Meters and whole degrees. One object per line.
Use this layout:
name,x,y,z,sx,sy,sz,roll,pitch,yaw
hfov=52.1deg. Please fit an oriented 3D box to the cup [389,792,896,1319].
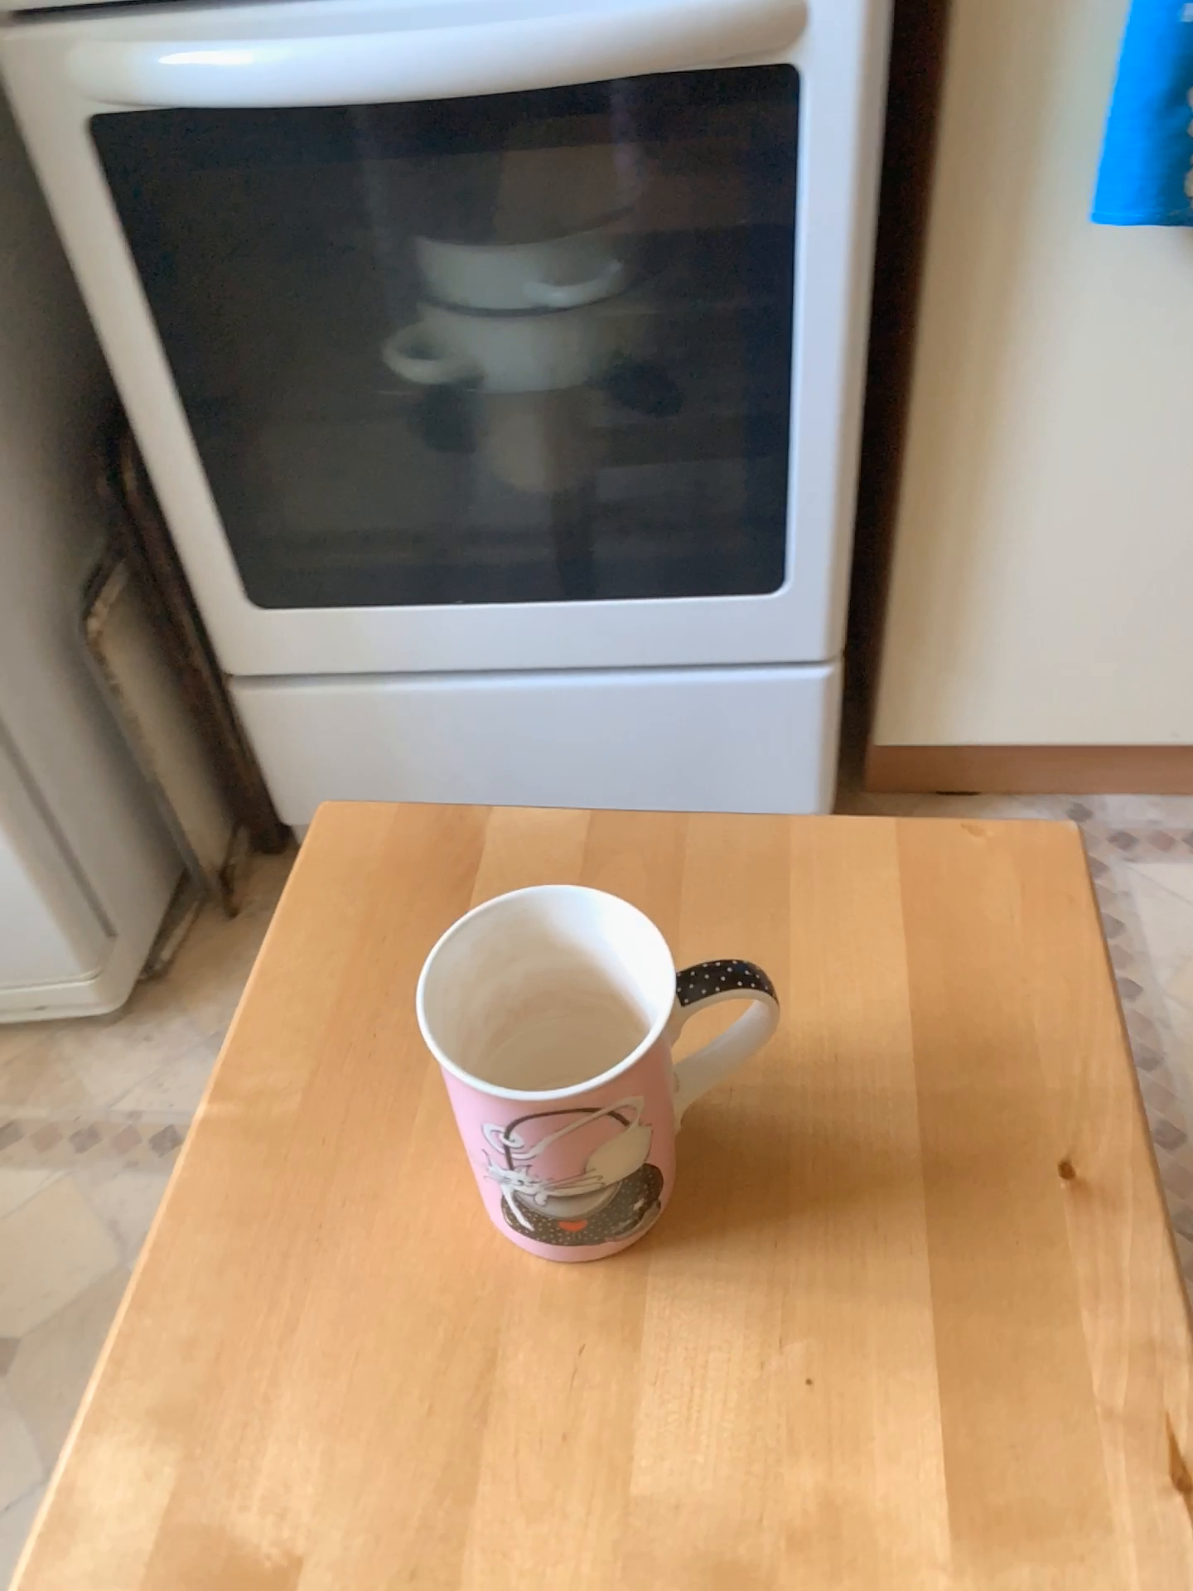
cup,0.014,0.079,0.376,0.120,0.099,0.081,-19,45,-13
